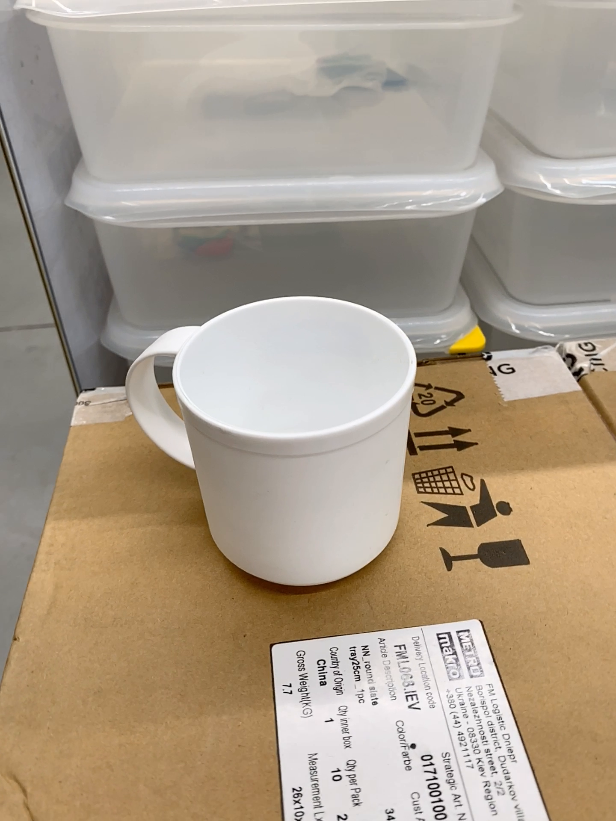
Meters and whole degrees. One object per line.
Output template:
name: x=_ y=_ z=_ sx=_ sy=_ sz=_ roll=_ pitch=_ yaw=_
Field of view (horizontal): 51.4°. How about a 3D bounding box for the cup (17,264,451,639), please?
cup: x=-0.018 y=0.008 z=0.225 sx=0.113 sy=0.075 sz=0.080 roll=12 pitch=41 yaw=17
